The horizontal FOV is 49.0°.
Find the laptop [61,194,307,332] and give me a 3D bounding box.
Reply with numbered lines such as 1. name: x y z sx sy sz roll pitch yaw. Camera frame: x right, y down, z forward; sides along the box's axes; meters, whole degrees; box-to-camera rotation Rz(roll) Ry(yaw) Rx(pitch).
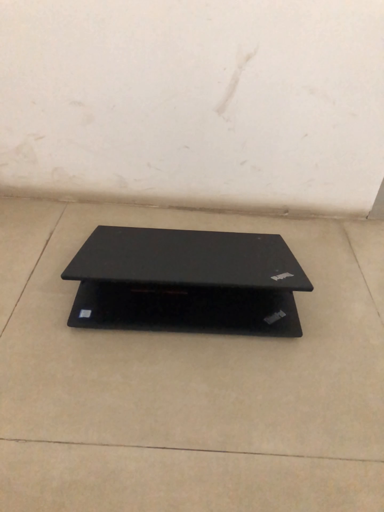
1. laptop: -0.011 0.002 0.705 0.349 0.071 0.238 2 42 -1
